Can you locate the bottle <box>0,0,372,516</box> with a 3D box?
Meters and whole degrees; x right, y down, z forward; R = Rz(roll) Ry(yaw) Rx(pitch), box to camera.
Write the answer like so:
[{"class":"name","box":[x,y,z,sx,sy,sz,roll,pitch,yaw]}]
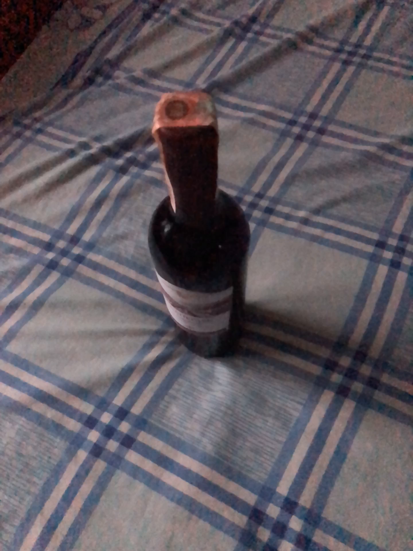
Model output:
[{"class":"bottle","box":[-0.012,0.051,0.224,0.071,0.305,0.081,-34,63,-15]}]
